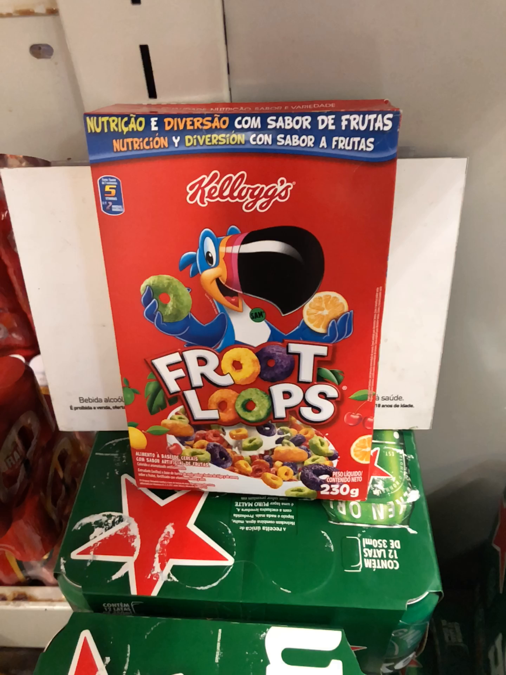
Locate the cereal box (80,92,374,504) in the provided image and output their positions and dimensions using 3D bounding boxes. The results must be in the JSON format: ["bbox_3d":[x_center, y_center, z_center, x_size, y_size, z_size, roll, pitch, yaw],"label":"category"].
[{"bbox_3d":[-0.009,-0.016,0.367,0.150,0.259,0.060,2,26,6],"label":"cereal box"}]
